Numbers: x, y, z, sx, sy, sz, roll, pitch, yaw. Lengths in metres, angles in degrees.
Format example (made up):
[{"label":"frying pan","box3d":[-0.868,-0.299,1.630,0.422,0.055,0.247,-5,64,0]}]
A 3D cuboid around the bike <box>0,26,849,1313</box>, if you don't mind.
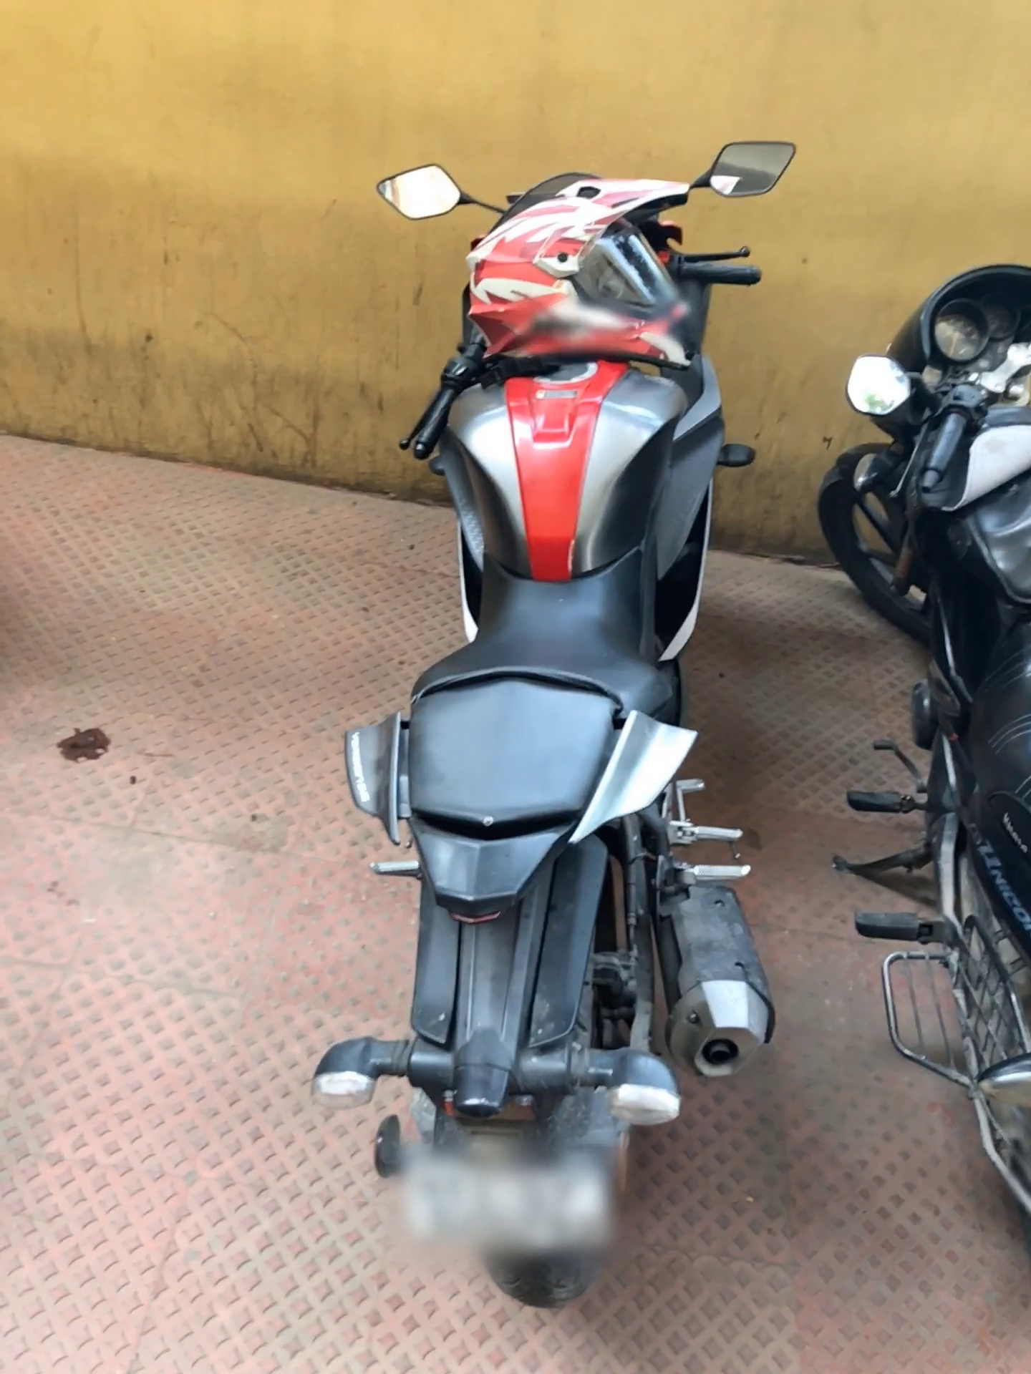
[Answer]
[{"label":"bike","box3d":[-0.173,-0.193,1.796,0.725,0.870,1.753,4,47,-5]}]
